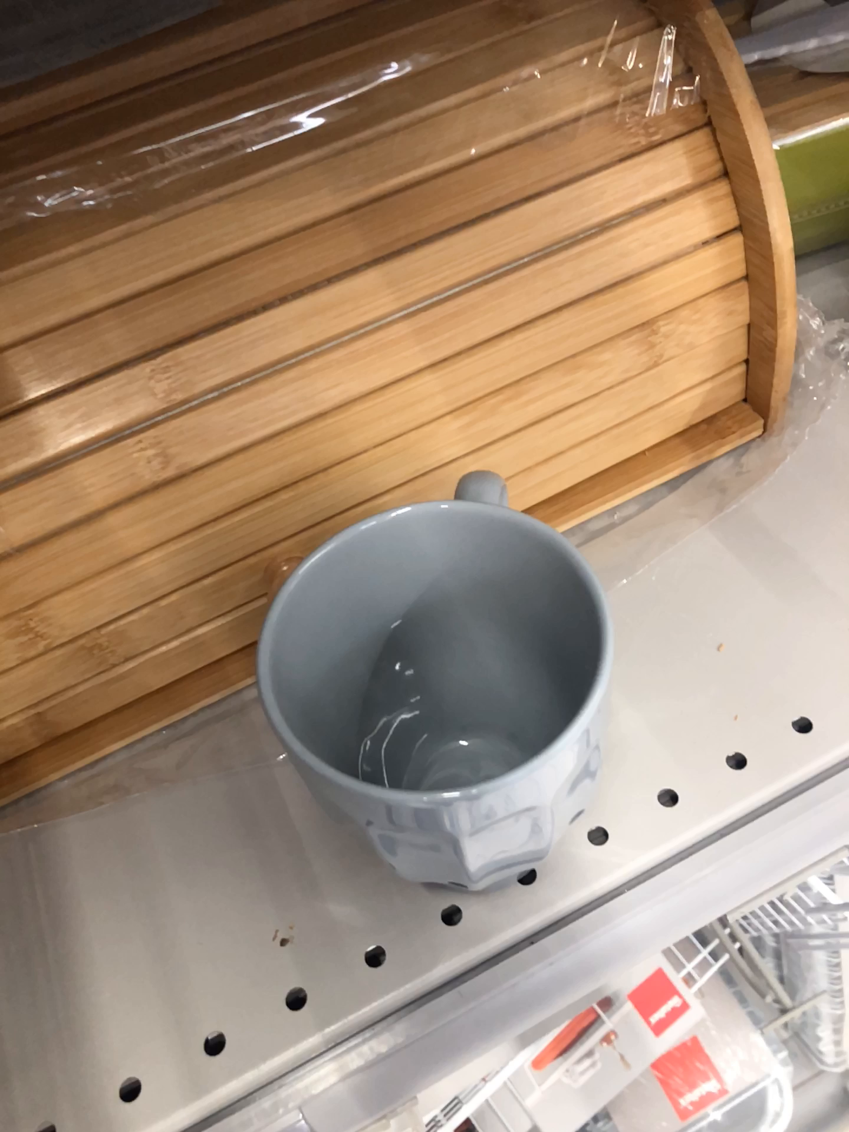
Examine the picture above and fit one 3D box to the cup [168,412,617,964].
[{"bbox_3d":[0.005,0.032,0.261,0.092,0.091,0.117,1,52,11],"label":"cup"}]
